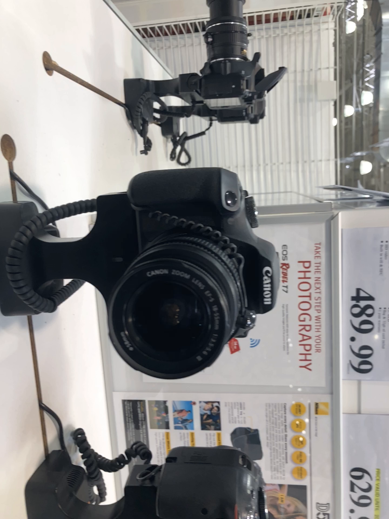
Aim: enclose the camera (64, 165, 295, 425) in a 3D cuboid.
[{"bbox_3d":[0.005,0.007,0.290,0.150,0.110,0.130,-59,146,-74],"label":"camera"}]
